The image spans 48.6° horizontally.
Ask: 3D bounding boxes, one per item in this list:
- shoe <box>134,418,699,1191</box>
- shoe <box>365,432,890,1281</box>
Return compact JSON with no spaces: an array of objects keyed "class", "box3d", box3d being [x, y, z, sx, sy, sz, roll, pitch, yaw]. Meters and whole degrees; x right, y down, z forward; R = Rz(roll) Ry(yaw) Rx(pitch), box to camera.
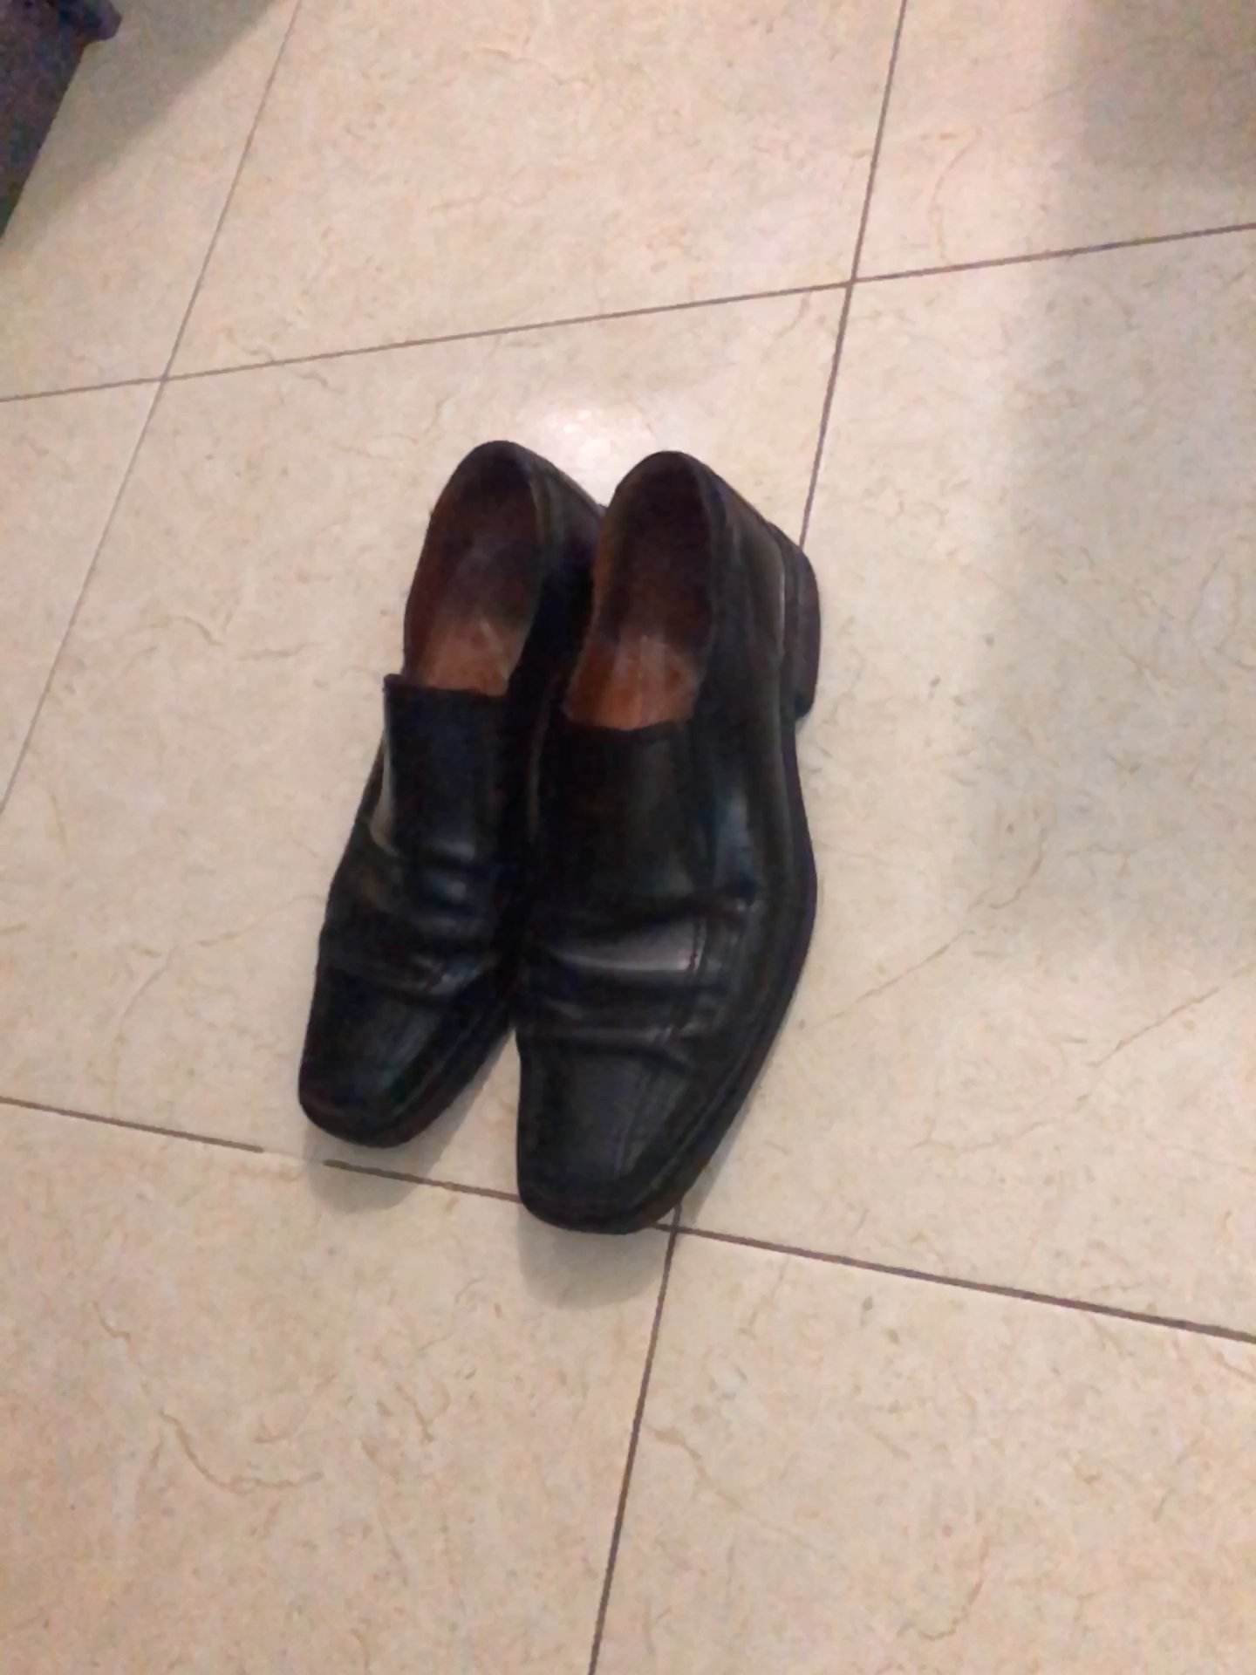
[{"class":"shoe","box3d":[-0.081,-0.023,0.601,0.120,0.090,0.310,8,72,28]},{"class":"shoe","box3d":[0.011,0.001,0.553,0.120,0.090,0.310,3,70,27]}]
